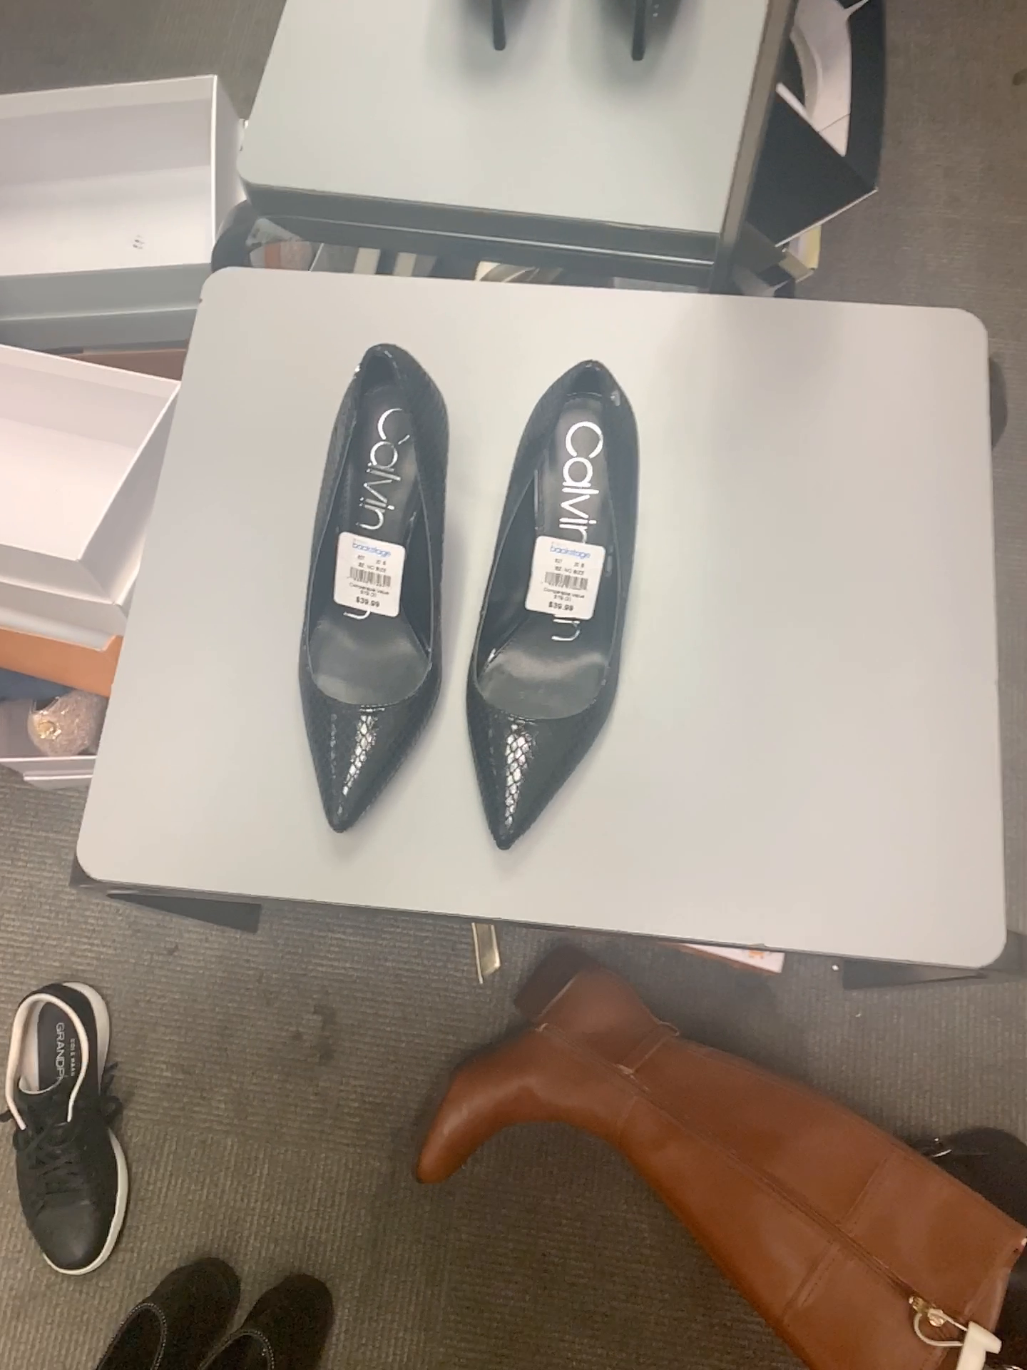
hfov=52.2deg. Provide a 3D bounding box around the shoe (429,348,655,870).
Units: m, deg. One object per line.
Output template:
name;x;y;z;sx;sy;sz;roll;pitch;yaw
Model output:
shoe;0.020;-0.040;0.550;0.080;0.084;0.254;6;73;5

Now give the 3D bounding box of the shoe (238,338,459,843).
shoe;-0.080;-0.051;0.559;0.080;0.085;0.254;1;72;3
